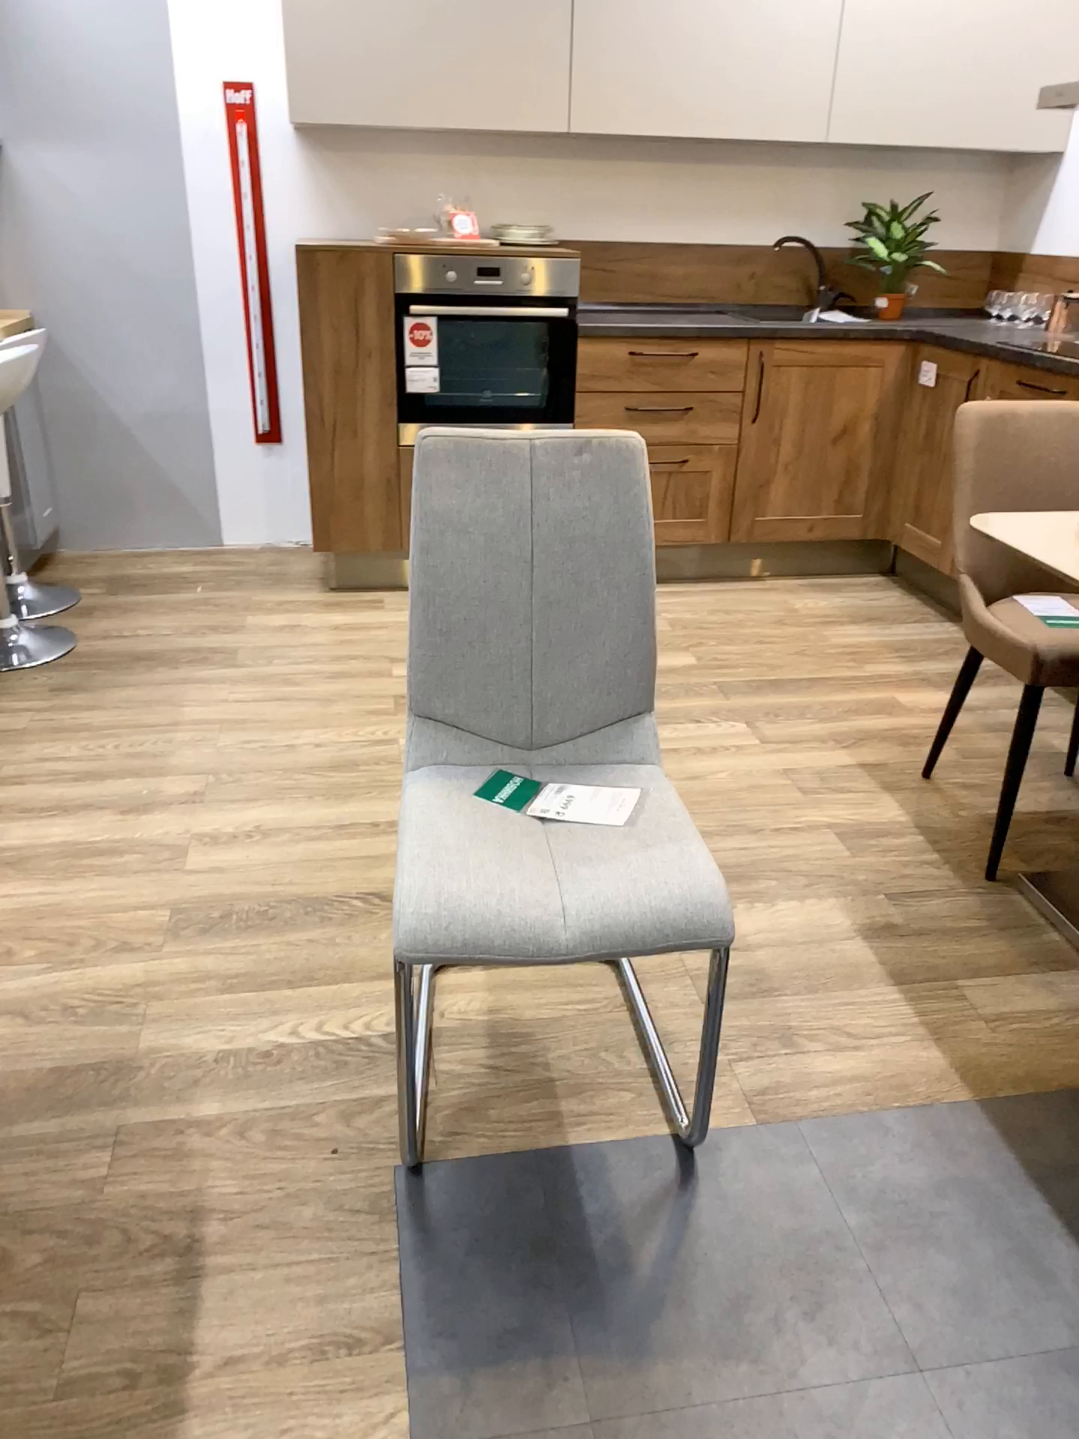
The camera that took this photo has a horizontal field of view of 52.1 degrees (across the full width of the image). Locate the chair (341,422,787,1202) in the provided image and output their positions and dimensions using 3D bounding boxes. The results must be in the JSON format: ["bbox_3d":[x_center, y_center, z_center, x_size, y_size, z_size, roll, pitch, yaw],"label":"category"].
[{"bbox_3d":[-0.015,0.107,1.655,0.490,0.985,0.573,-2,24,-7],"label":"chair"}]
